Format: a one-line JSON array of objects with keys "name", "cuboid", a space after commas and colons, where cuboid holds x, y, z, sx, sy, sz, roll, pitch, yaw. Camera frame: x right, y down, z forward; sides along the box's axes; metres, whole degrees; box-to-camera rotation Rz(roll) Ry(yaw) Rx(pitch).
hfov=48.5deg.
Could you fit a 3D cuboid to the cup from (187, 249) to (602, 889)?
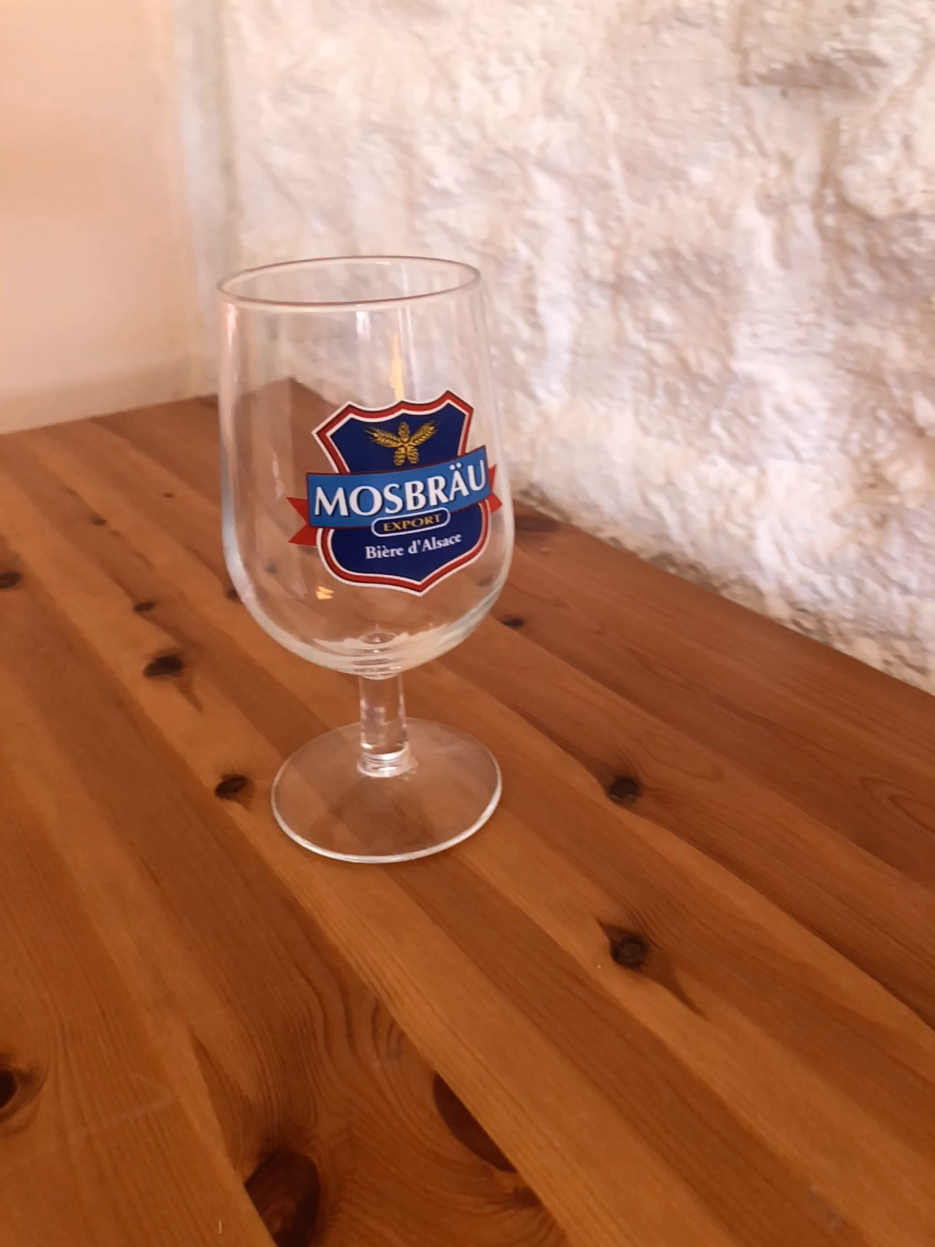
[{"name": "cup", "cuboid": [-0.021, -0.019, 0.278, 0.079, 0.142, 0.077, 0, 26, 0]}]
